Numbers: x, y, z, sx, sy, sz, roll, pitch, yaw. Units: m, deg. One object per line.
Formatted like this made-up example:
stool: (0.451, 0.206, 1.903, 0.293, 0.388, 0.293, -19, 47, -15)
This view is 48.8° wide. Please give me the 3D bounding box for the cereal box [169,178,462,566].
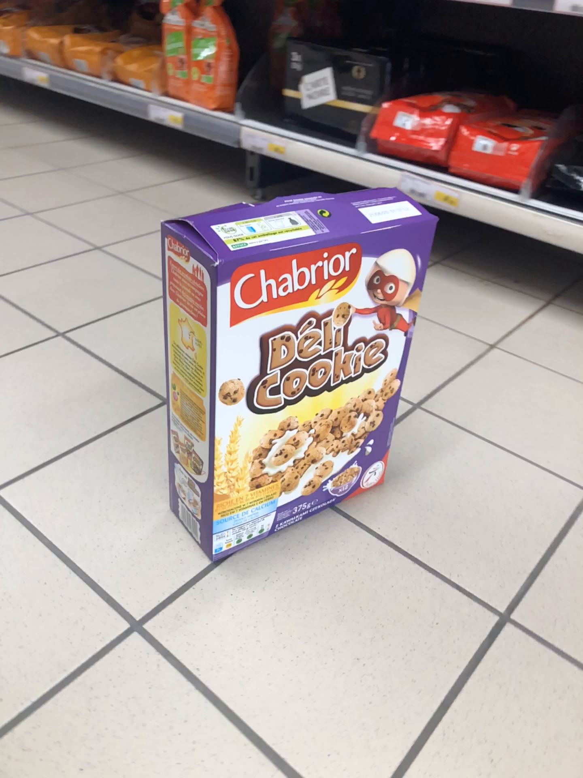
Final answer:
cereal box: (0.012, -0.016, 0.525, 0.201, 0.268, 0.080, -18, 40, -32)
